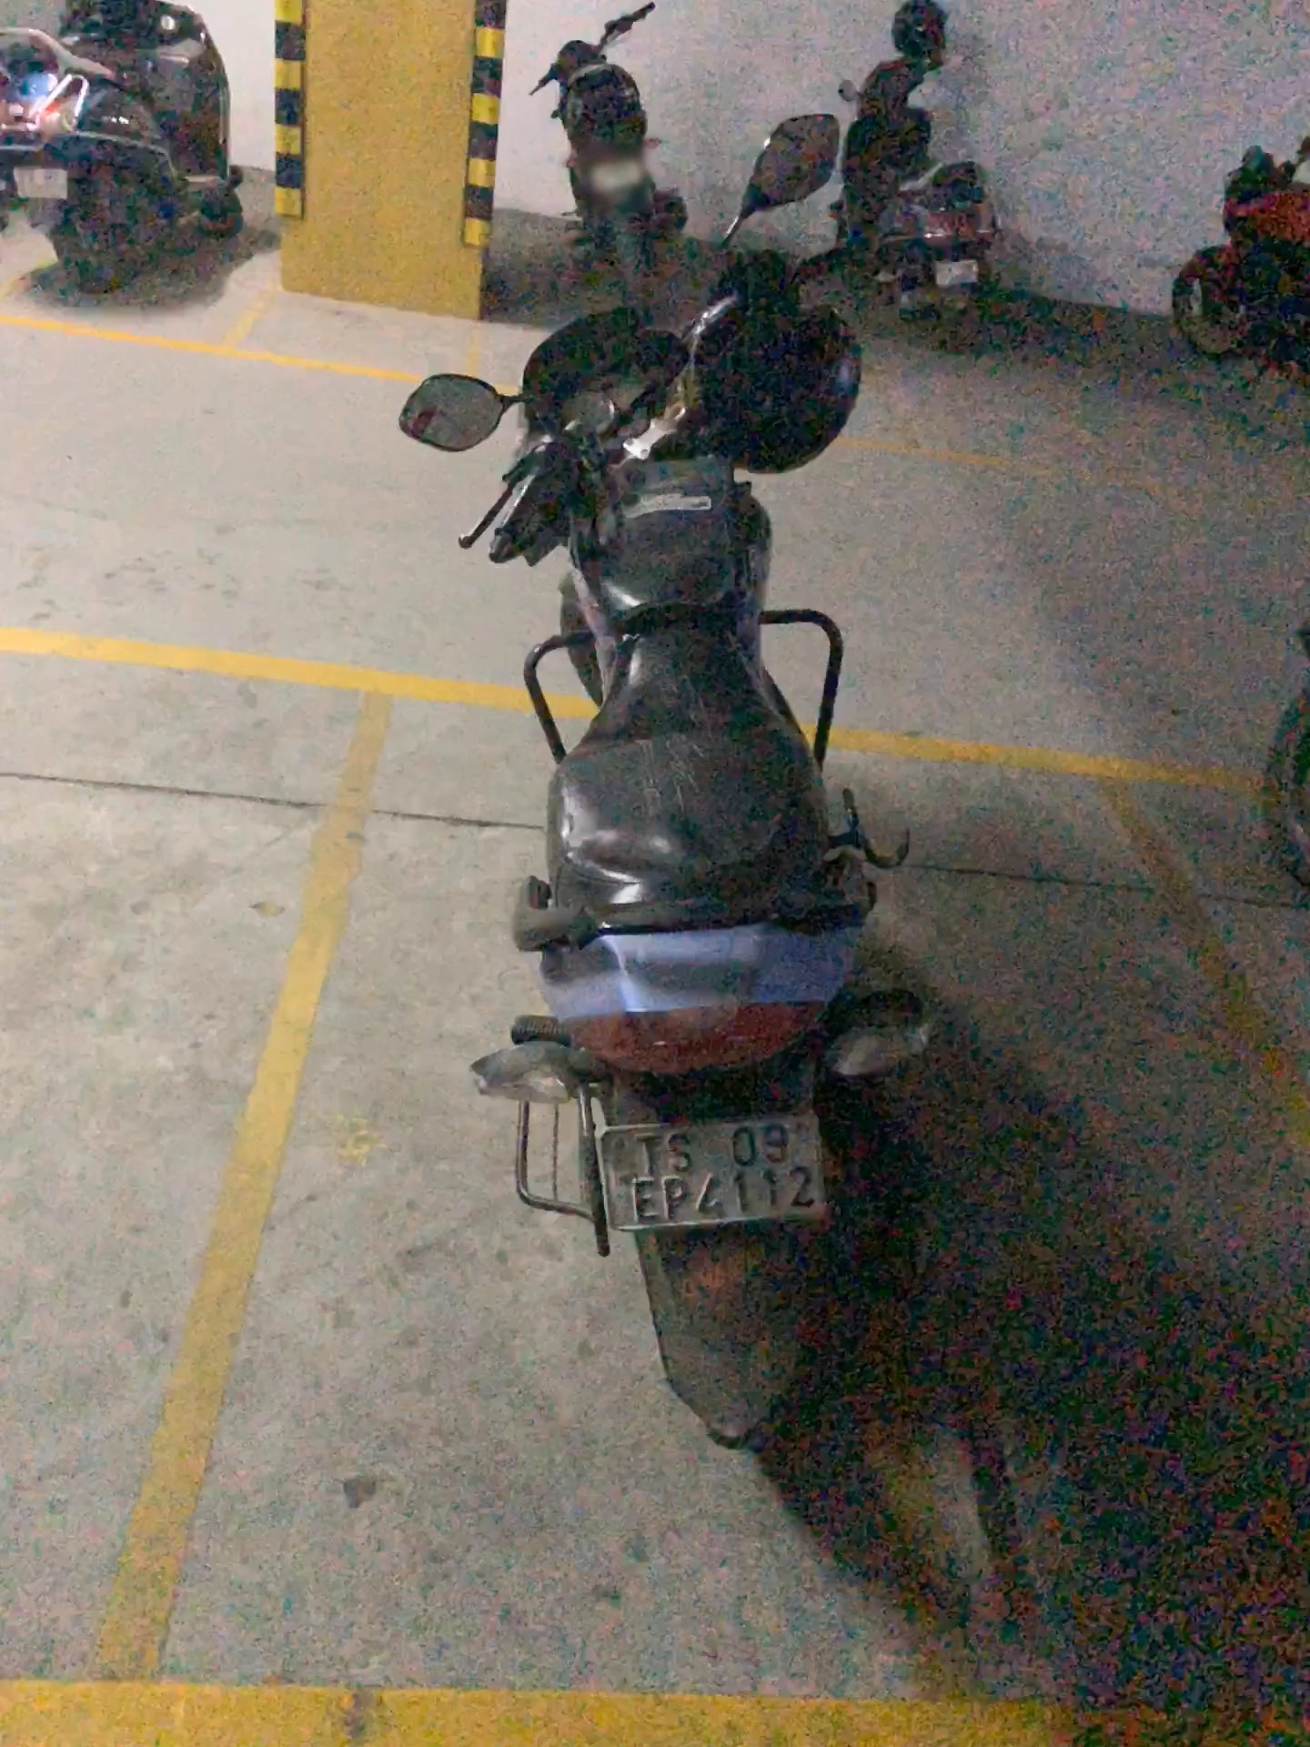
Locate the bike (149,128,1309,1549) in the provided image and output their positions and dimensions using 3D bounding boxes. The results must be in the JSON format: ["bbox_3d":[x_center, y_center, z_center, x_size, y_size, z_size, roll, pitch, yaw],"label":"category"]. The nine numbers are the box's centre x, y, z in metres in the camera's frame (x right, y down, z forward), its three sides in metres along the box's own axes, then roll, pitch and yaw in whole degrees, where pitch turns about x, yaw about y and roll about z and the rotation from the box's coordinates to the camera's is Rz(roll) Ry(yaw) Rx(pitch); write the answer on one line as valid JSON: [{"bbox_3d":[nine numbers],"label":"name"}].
[{"bbox_3d":[-0.139,-0.214,1.820,0.780,1.107,1.709,2,35,-12],"label":"bike"}]
